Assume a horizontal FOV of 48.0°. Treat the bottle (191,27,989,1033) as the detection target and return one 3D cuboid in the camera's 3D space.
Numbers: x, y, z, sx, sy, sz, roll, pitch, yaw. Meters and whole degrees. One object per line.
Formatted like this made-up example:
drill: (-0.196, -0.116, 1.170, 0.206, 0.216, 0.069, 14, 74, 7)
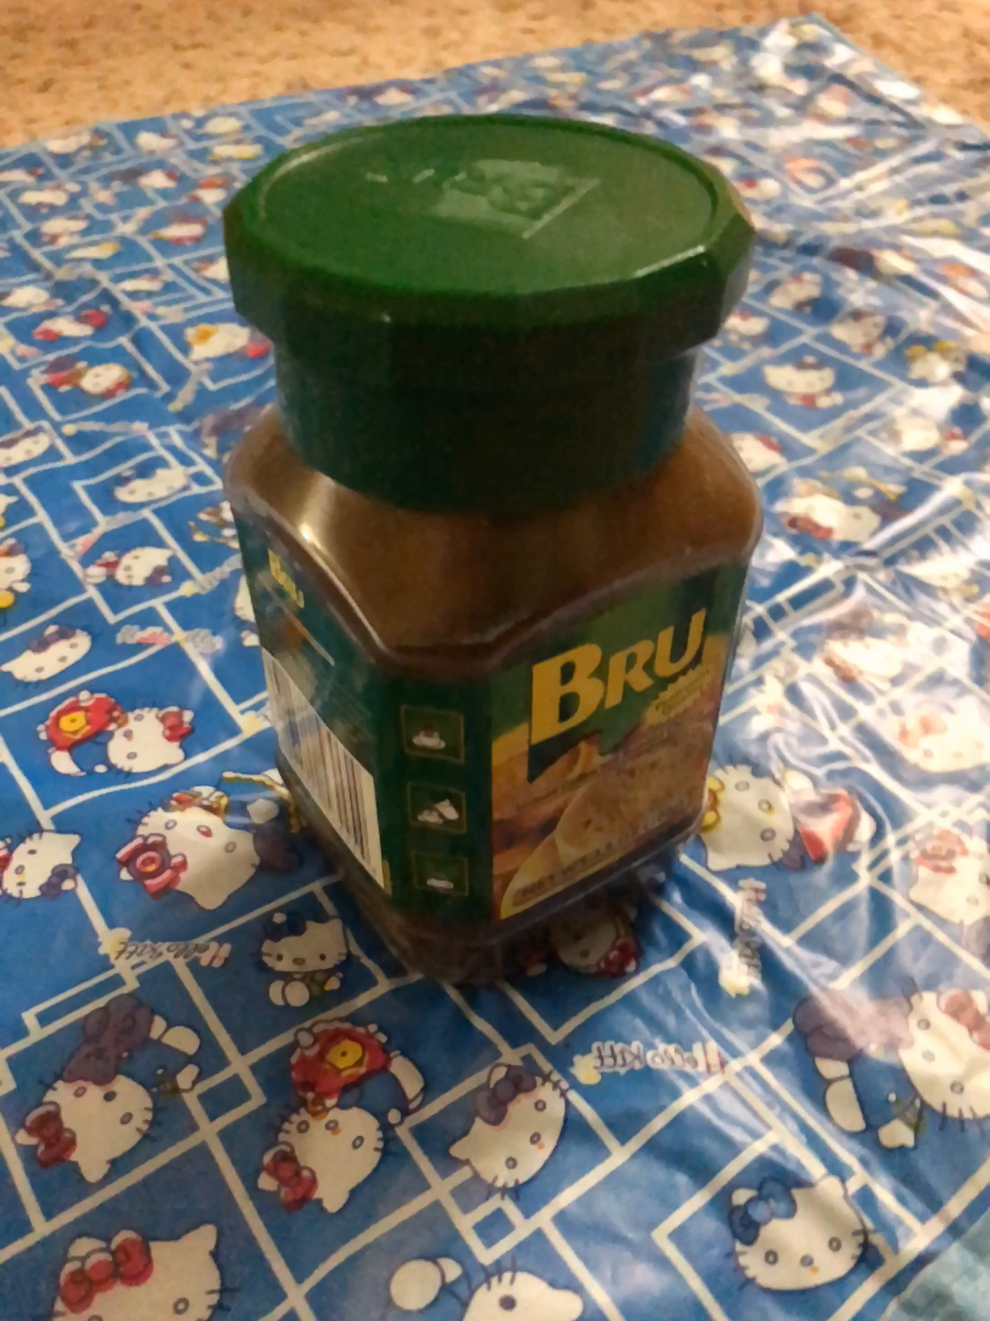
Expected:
bottle: (0.014, -0.019, 0.175, 0.080, 0.120, 0.070, -24, 48, -24)
